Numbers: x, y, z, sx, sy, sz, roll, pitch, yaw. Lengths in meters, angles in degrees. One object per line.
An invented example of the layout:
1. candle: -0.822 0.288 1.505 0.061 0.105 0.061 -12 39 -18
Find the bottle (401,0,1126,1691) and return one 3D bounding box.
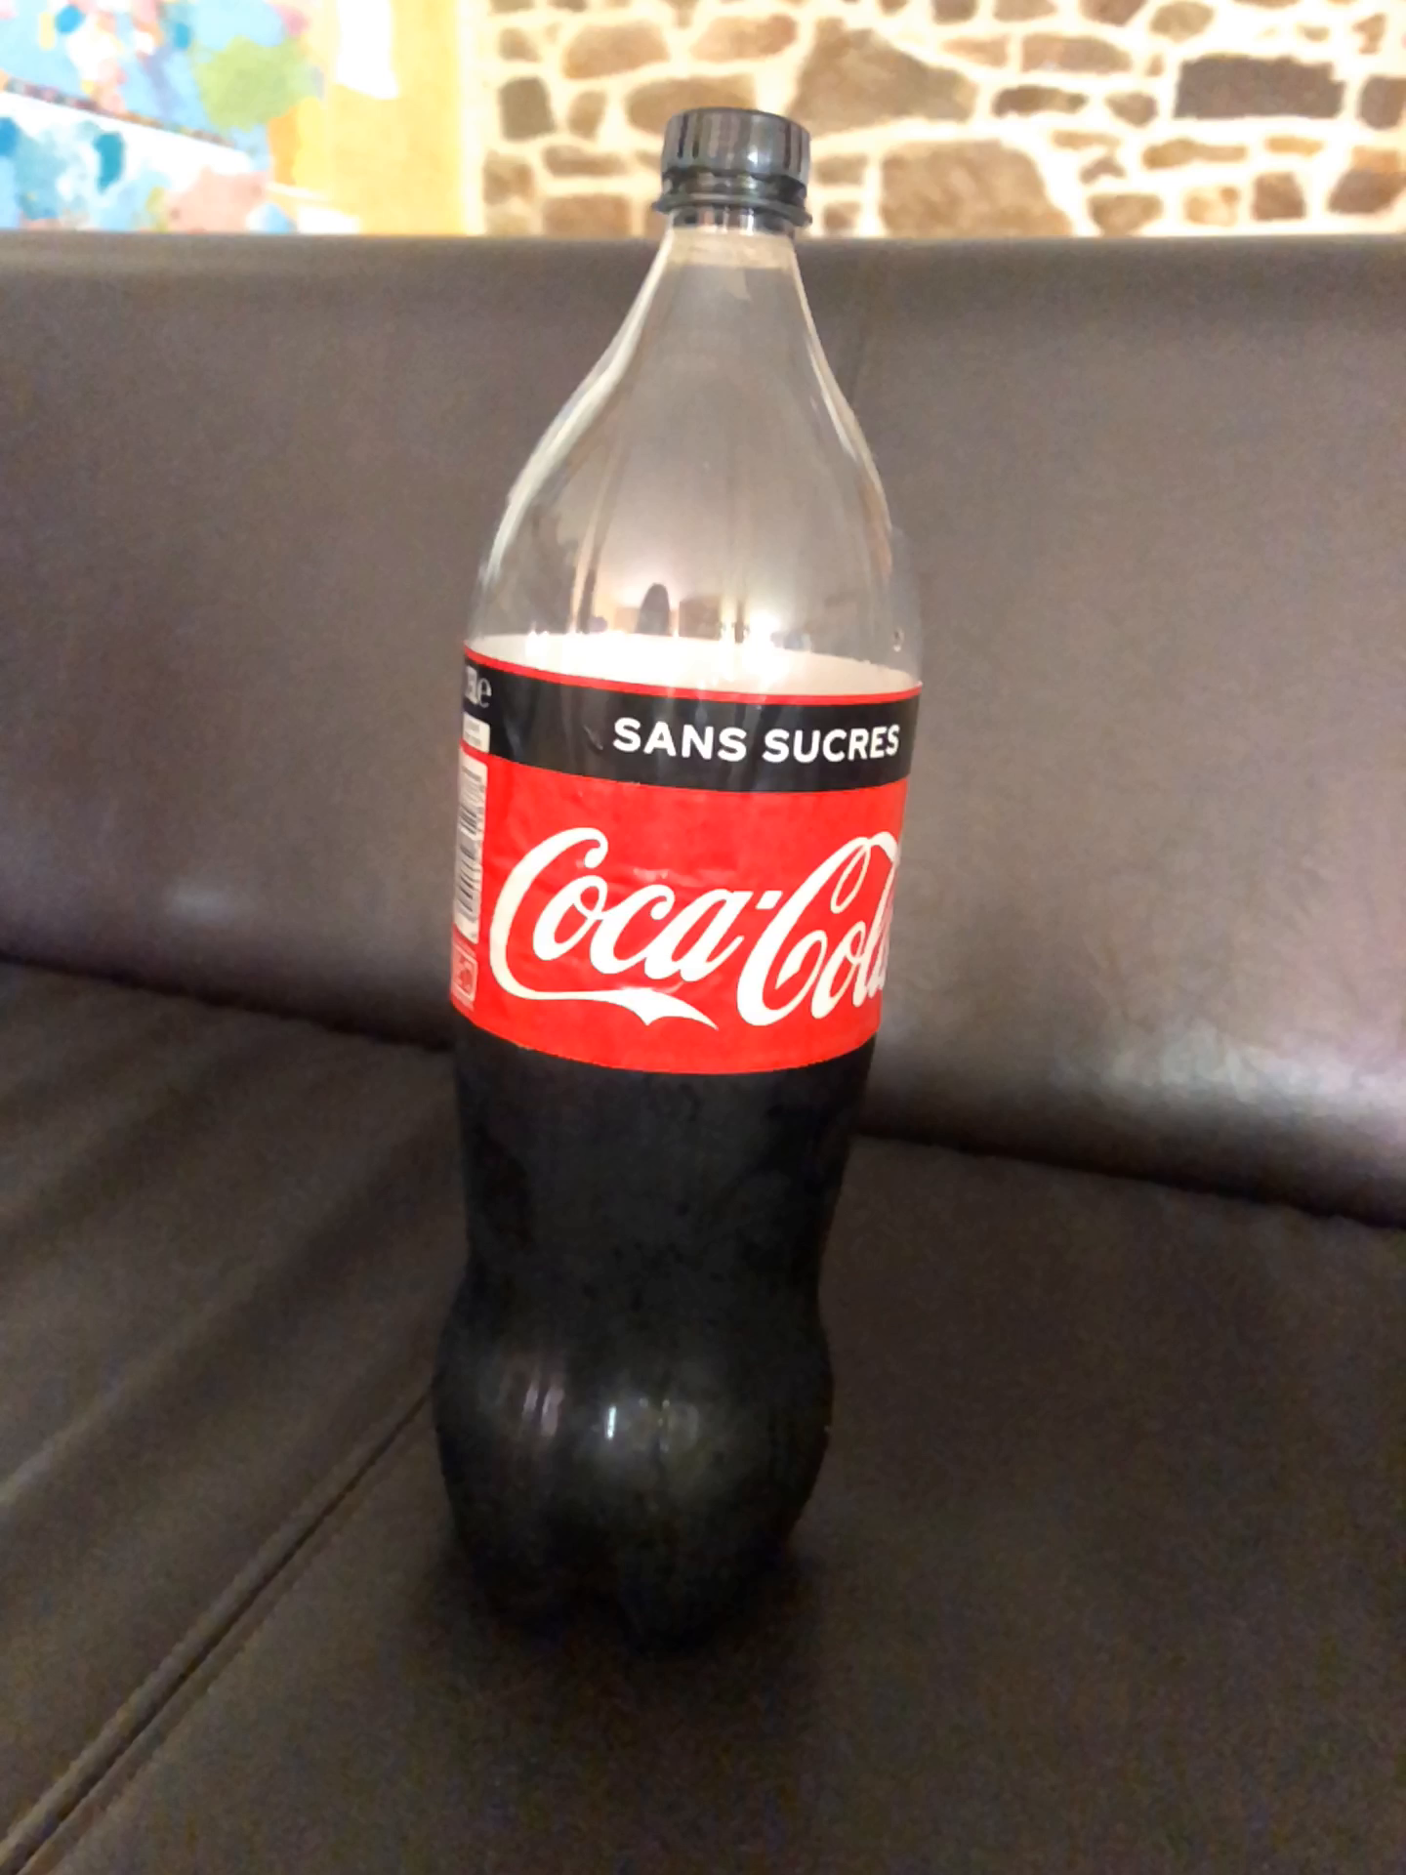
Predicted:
1. bottle: -0.002 -0.012 0.345 0.100 0.319 0.100 4 17 -1
